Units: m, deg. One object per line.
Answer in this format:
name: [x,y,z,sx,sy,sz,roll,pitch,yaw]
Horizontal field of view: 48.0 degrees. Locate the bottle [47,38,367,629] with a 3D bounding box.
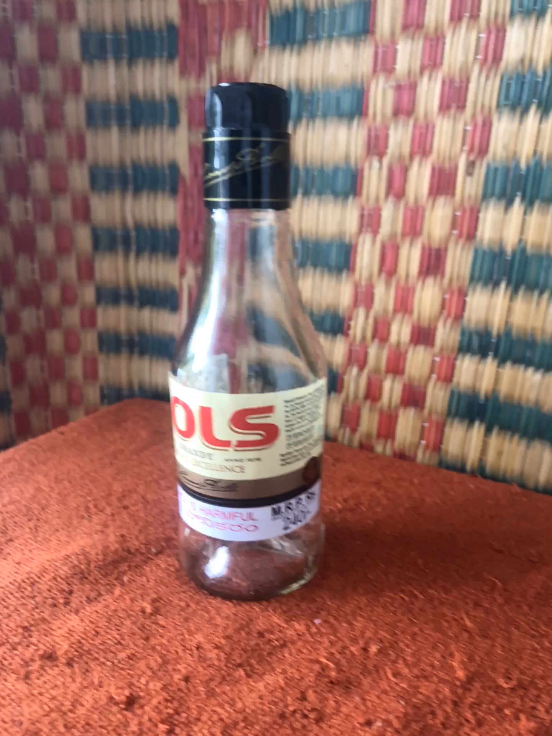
bottle: [-0.019,-0.012,0.205,0.070,0.159,0.060,13,23,35]
